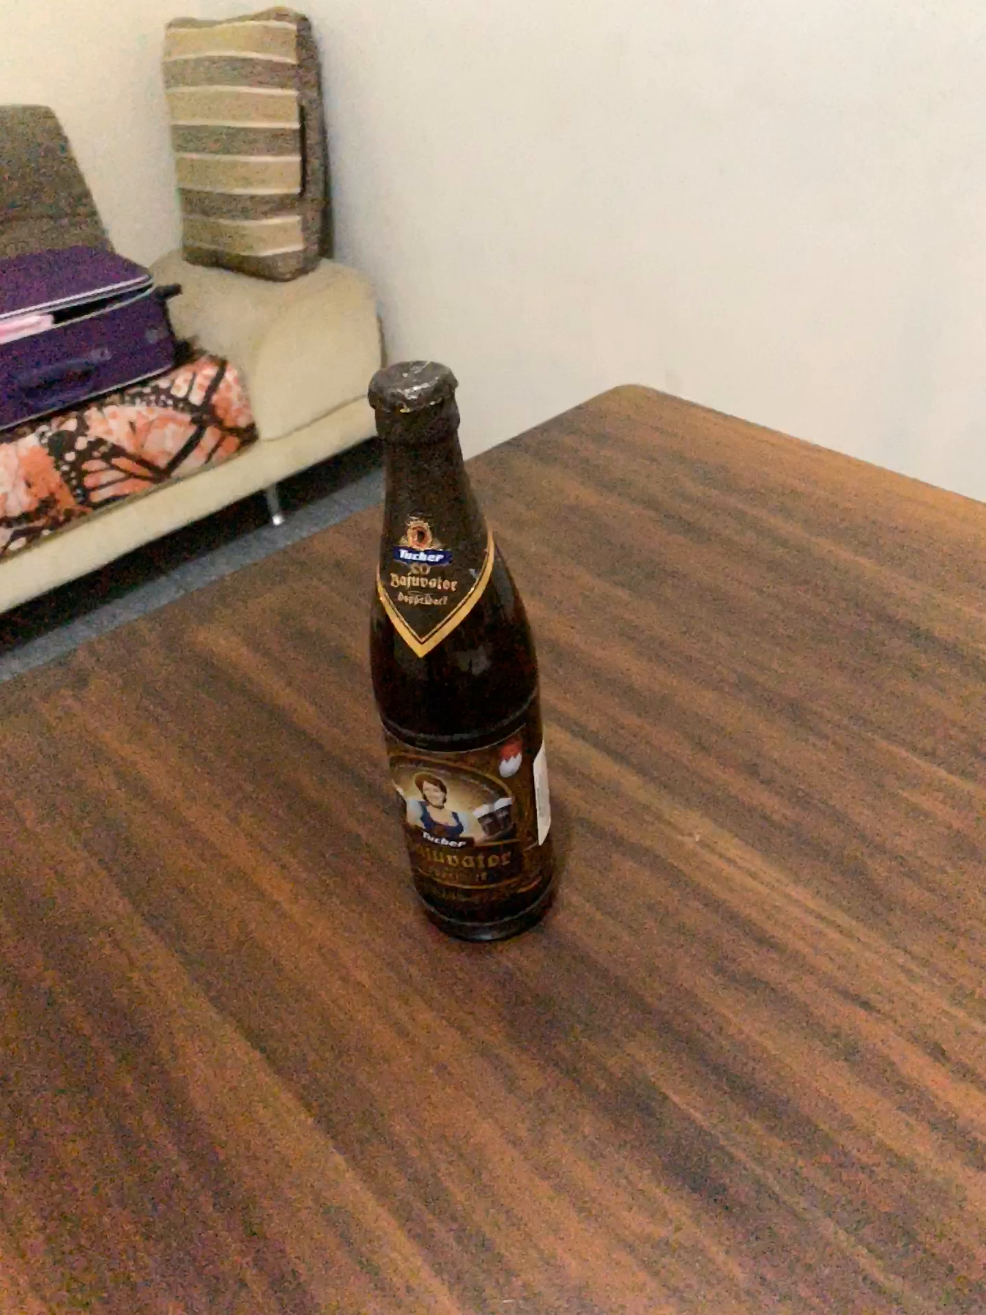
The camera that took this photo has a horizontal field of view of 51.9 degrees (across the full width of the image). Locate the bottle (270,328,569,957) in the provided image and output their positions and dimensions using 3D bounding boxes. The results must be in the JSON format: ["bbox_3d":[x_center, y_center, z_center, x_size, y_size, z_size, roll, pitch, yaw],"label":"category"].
[{"bbox_3d":[-0.017,0.009,0.418,0.070,0.268,0.060,7,39,18],"label":"bottle"}]
